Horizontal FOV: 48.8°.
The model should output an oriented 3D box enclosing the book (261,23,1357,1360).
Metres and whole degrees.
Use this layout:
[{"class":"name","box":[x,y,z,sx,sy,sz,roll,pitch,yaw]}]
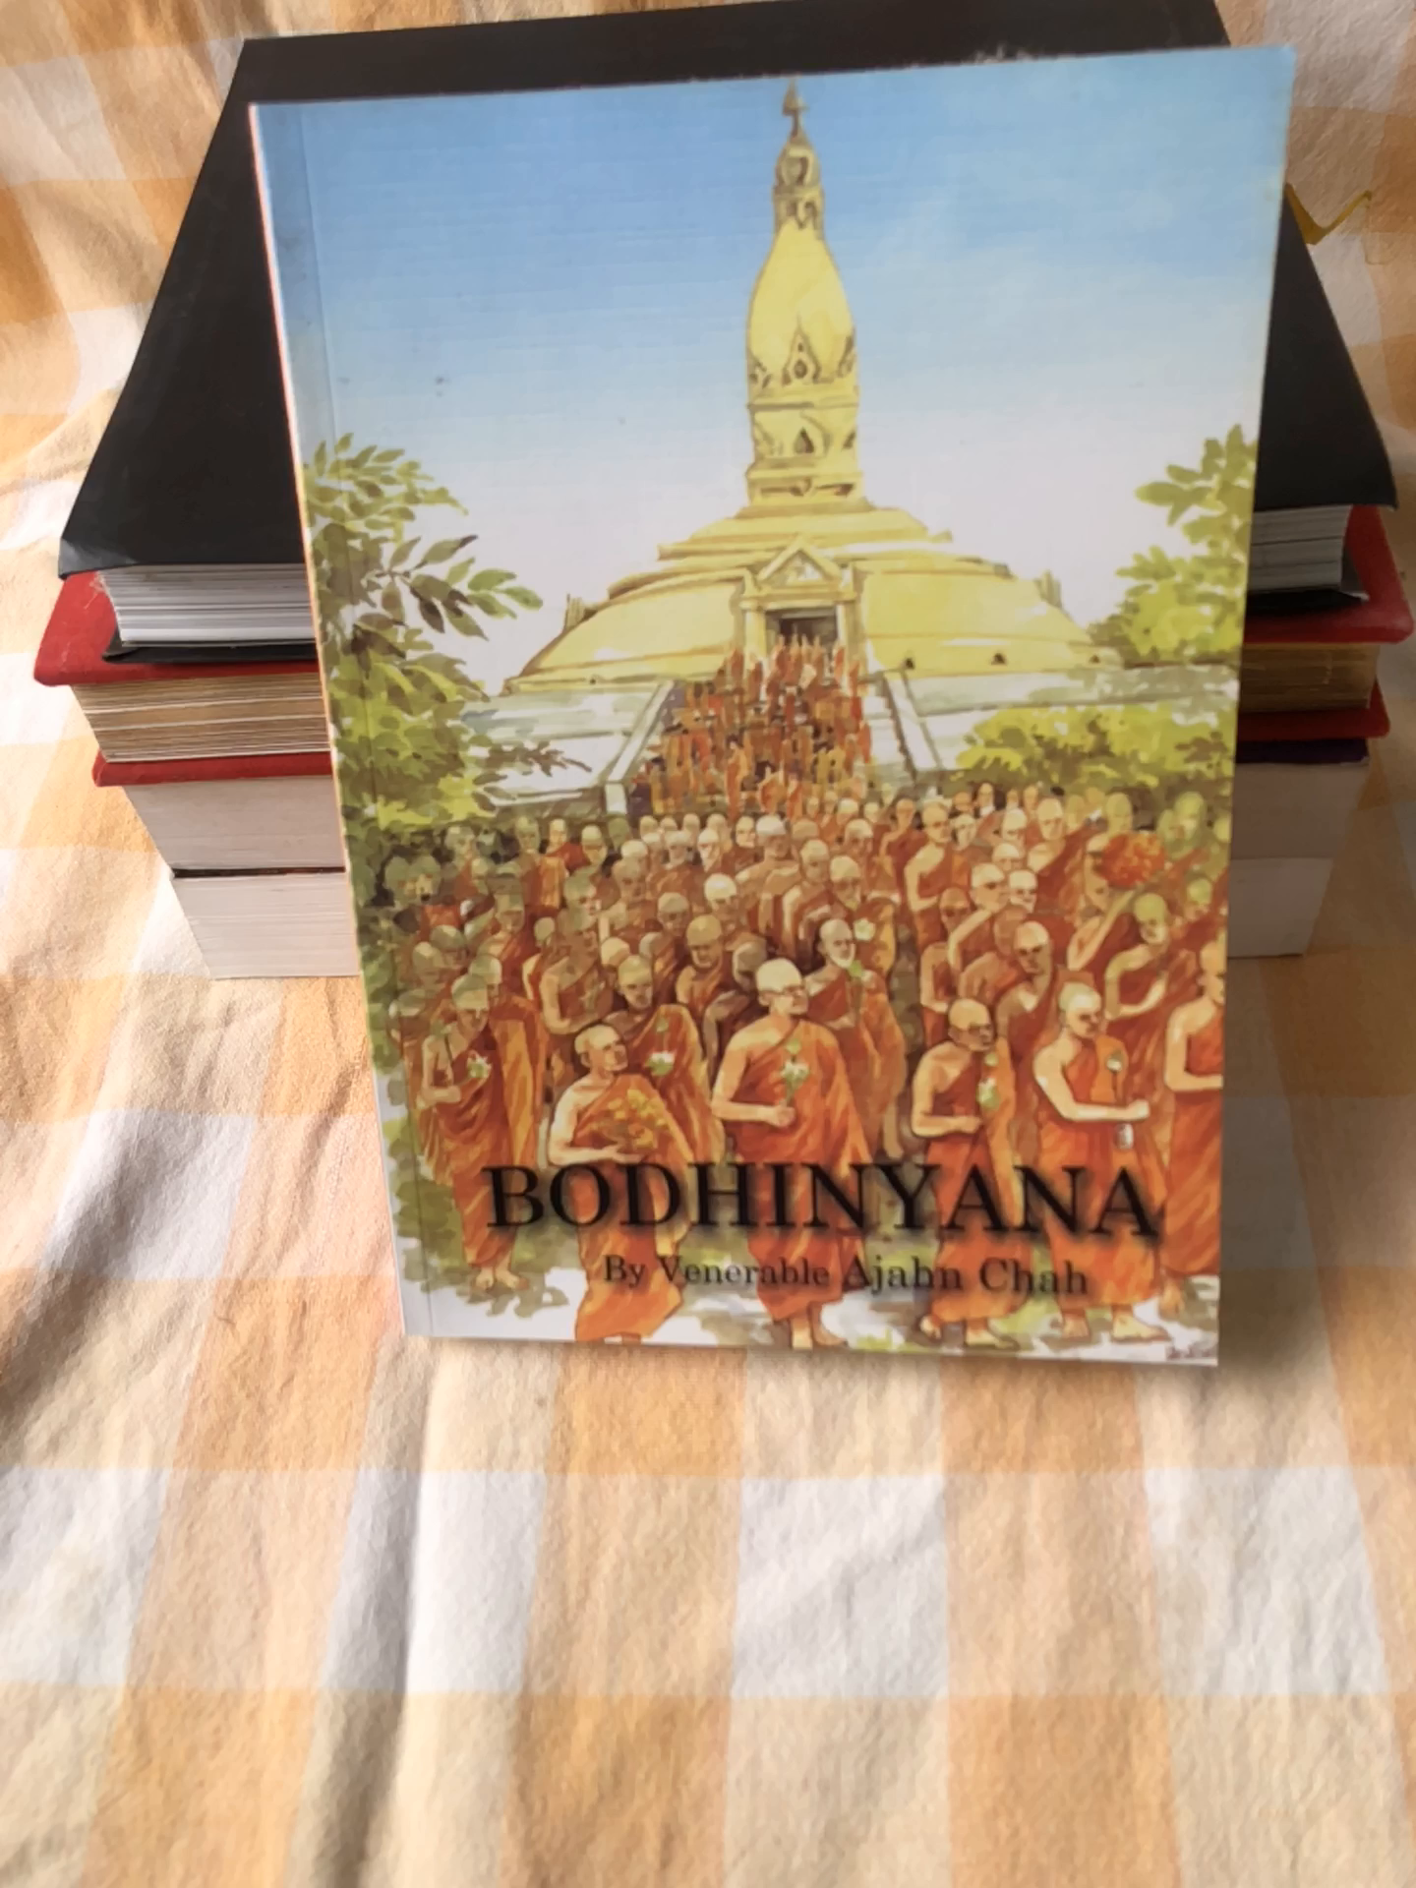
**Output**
[{"class":"book","box":[0.014,-0.031,0.257,0.150,0.200,0.030,1,17,7]}]
